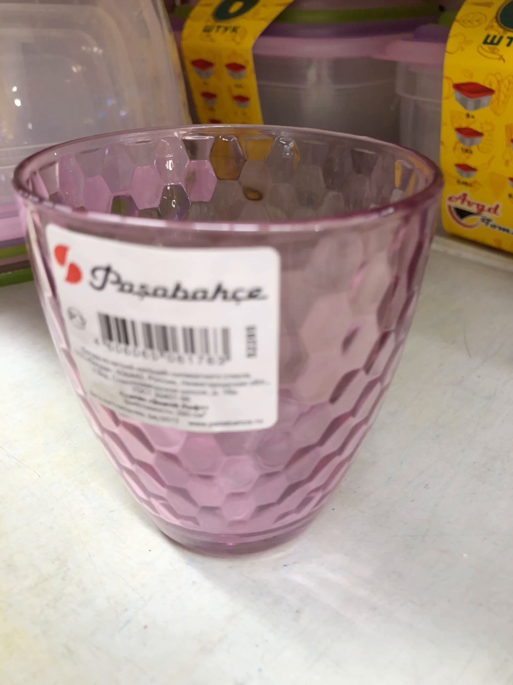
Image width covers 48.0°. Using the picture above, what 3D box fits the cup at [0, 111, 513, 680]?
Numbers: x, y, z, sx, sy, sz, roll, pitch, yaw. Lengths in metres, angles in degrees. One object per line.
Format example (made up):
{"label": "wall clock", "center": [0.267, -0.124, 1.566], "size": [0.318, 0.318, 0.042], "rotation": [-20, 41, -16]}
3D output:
{"label": "cup", "center": [-0.003, -0.002, 0.128], "size": [0.090, 0.074, 0.078], "rotation": [14, 33, 22]}
